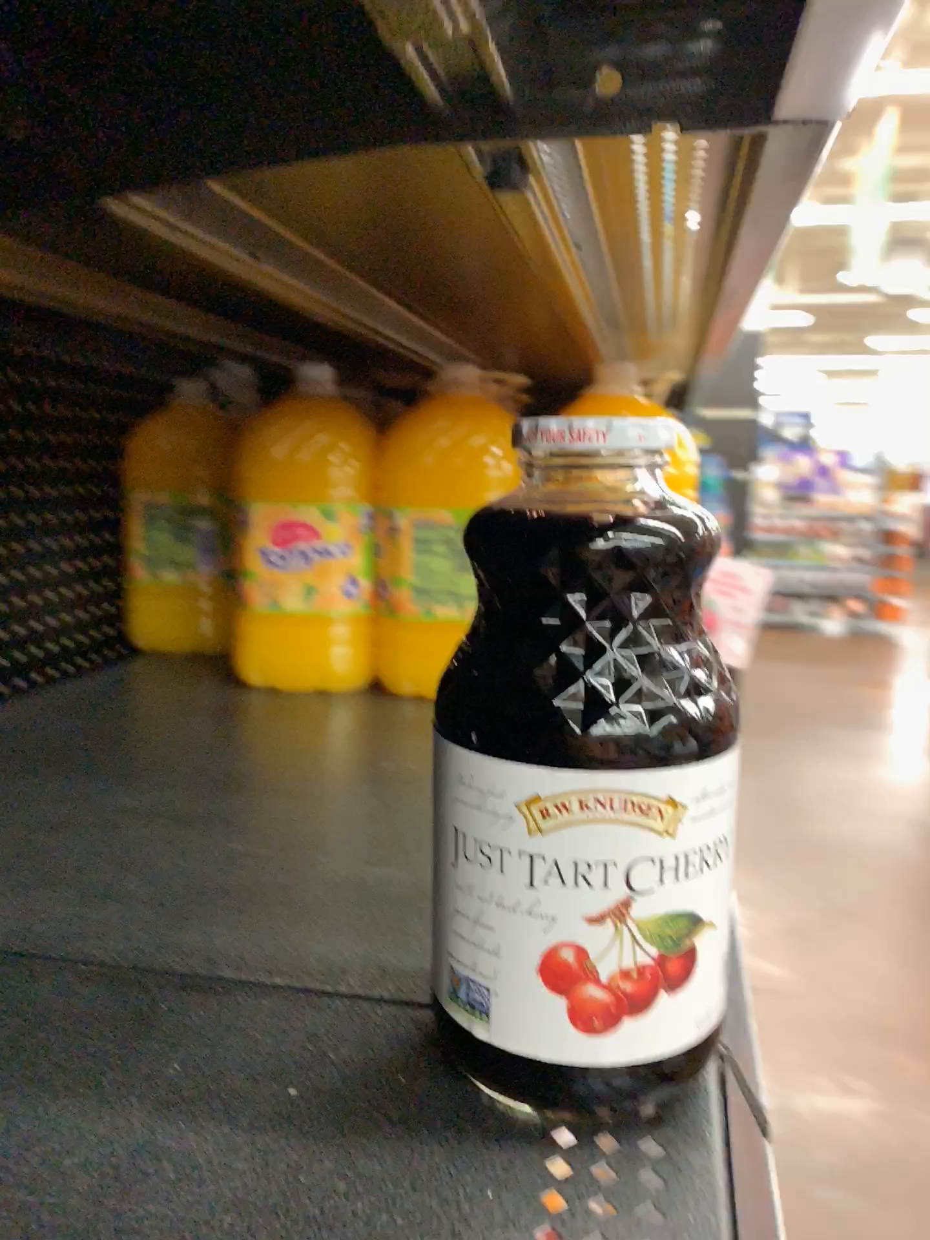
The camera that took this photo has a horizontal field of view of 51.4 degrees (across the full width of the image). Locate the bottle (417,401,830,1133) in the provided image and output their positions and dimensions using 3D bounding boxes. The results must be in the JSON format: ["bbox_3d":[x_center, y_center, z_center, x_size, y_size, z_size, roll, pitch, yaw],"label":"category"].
[{"bbox_3d":[0.038,0.037,0.312,0.100,0.200,0.110,1,8,-2],"label":"bottle"}]
